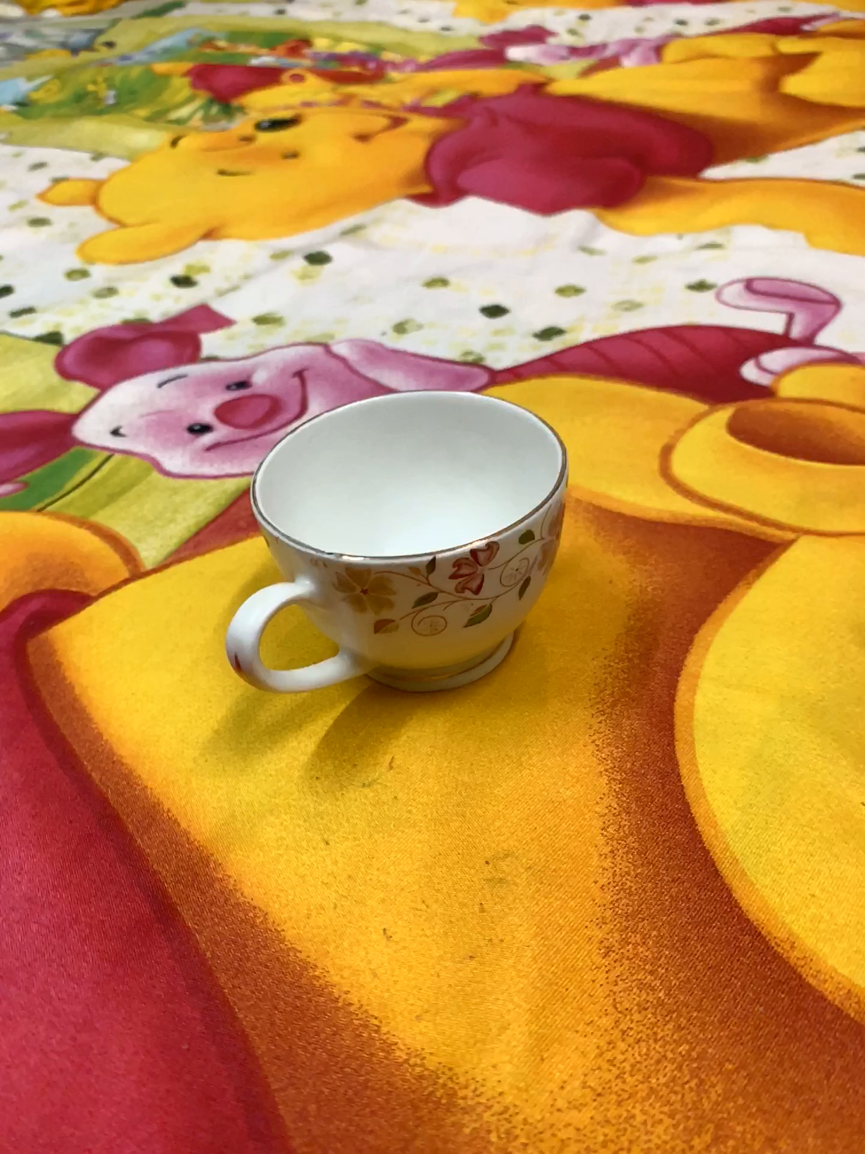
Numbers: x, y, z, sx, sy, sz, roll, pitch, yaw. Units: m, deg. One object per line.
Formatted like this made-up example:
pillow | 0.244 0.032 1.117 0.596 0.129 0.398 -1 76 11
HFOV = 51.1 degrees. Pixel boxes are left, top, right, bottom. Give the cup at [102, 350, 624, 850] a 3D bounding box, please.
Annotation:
cup | -0.011 -0.002 0.235 0.080 0.059 0.100 22 48 30
